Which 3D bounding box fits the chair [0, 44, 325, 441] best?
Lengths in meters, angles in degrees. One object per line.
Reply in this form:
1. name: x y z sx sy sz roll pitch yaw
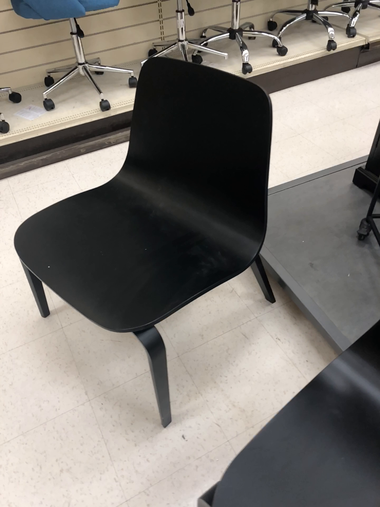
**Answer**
1. chair: -0.127 -0.067 1.196 0.642 0.717 0.631 31 54 31
